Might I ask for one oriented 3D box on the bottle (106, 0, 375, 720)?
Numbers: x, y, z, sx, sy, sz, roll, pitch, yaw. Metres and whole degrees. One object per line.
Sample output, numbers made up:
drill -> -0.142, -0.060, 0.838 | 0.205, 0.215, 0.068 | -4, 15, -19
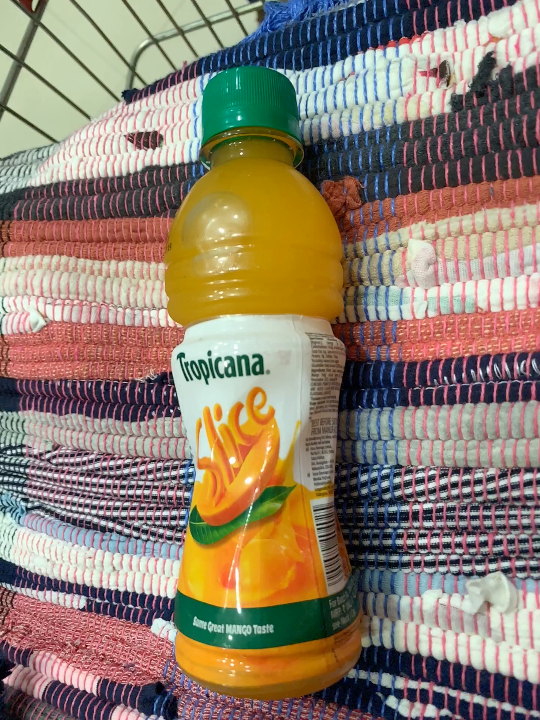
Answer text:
bottle -> -0.004, -0.008, 0.173 | 0.060, 0.050, 0.190 | -3, 81, 26
